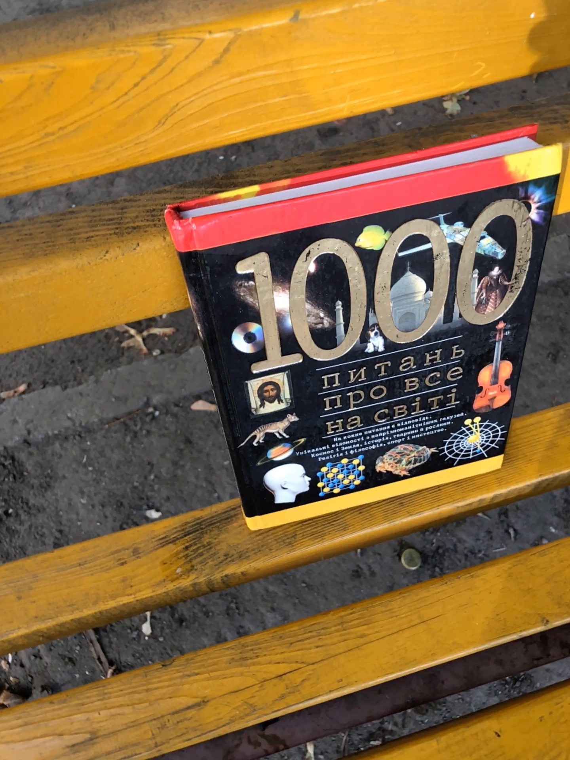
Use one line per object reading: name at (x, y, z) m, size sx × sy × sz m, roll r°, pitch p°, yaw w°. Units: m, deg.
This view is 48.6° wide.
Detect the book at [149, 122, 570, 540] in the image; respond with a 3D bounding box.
book at (0.042, -0.009, 0.327) m, size 0.172 × 0.201 × 0.032 m, roll -14°, pitch 42°, yaw -5°
